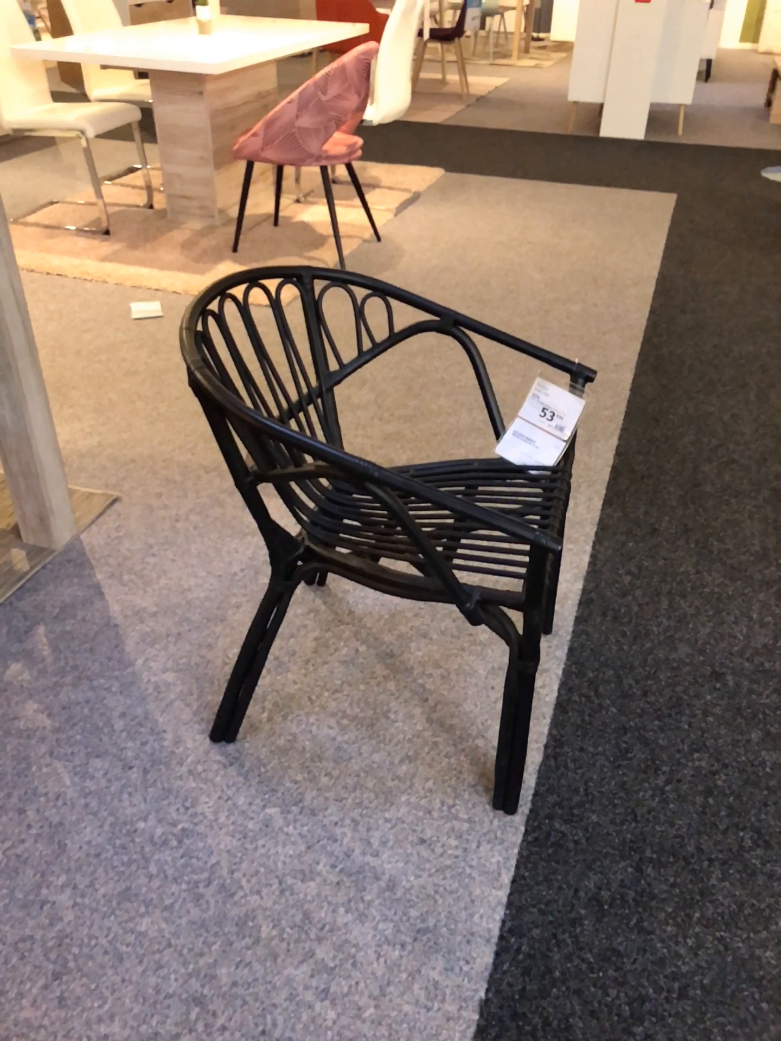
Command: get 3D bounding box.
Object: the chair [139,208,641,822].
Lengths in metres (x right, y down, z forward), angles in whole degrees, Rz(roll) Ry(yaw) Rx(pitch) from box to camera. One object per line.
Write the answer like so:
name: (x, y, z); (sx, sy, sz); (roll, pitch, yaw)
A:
chair: (0.036, -0.036, 1.386); (0.559, 0.736, 0.534); (11, 35, 14)
